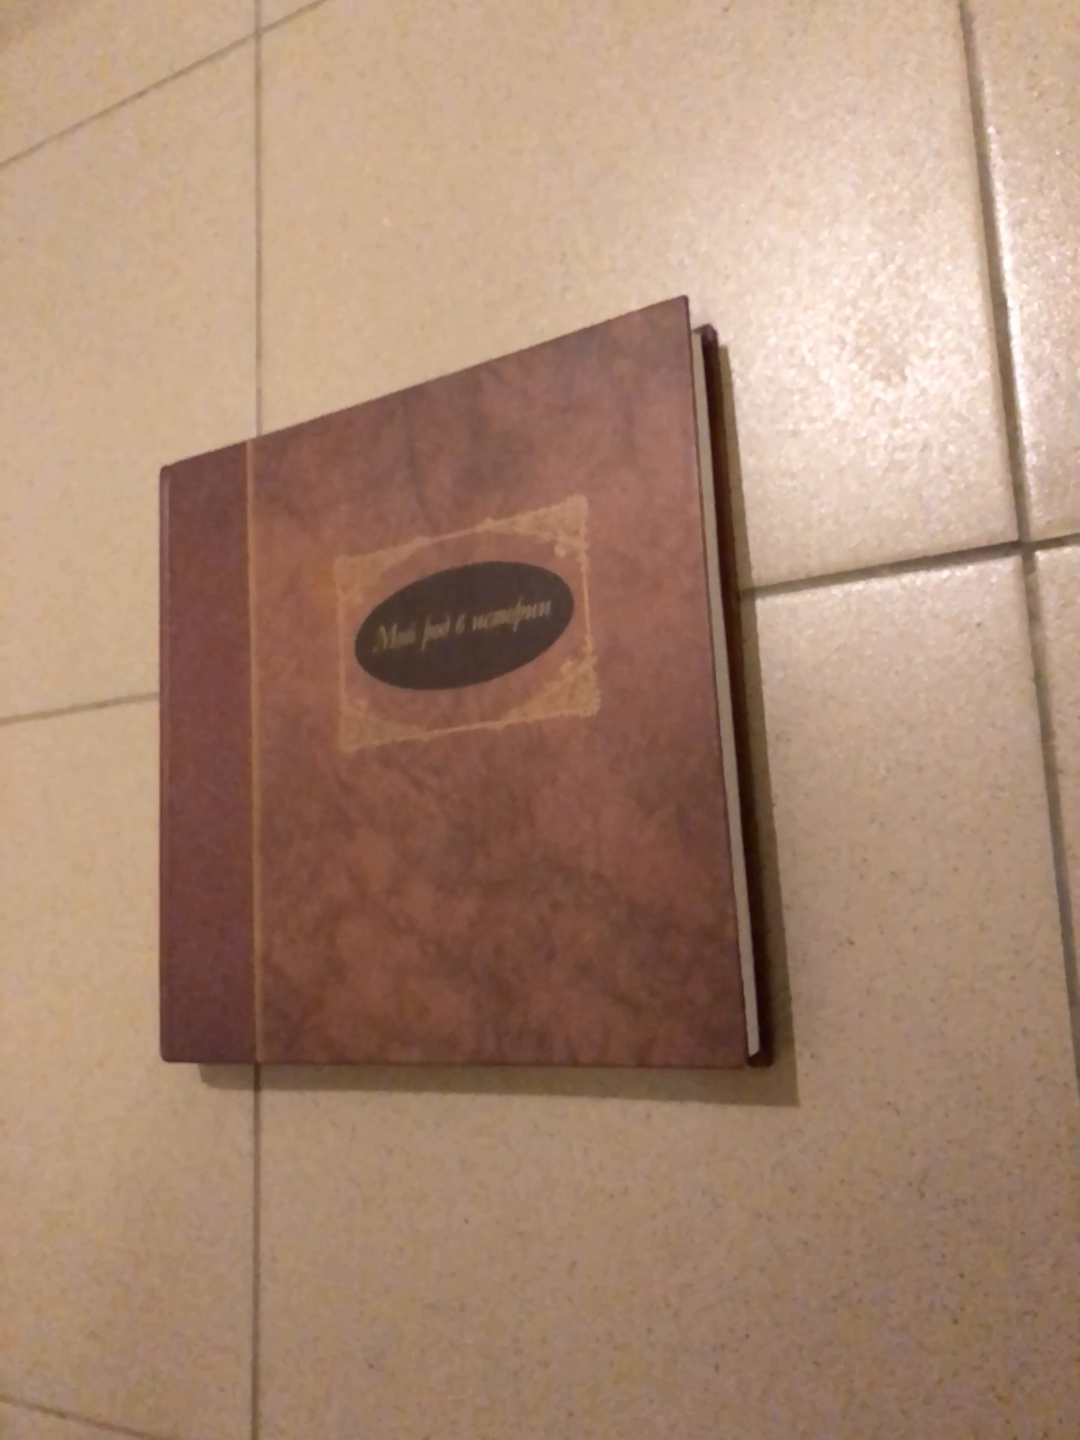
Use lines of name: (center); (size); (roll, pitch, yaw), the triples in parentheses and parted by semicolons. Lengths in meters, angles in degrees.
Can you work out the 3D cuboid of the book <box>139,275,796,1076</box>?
book: (-0.043, -0.001, 0.430); (0.244, 0.038, 0.244); (-10, 76, 30)
